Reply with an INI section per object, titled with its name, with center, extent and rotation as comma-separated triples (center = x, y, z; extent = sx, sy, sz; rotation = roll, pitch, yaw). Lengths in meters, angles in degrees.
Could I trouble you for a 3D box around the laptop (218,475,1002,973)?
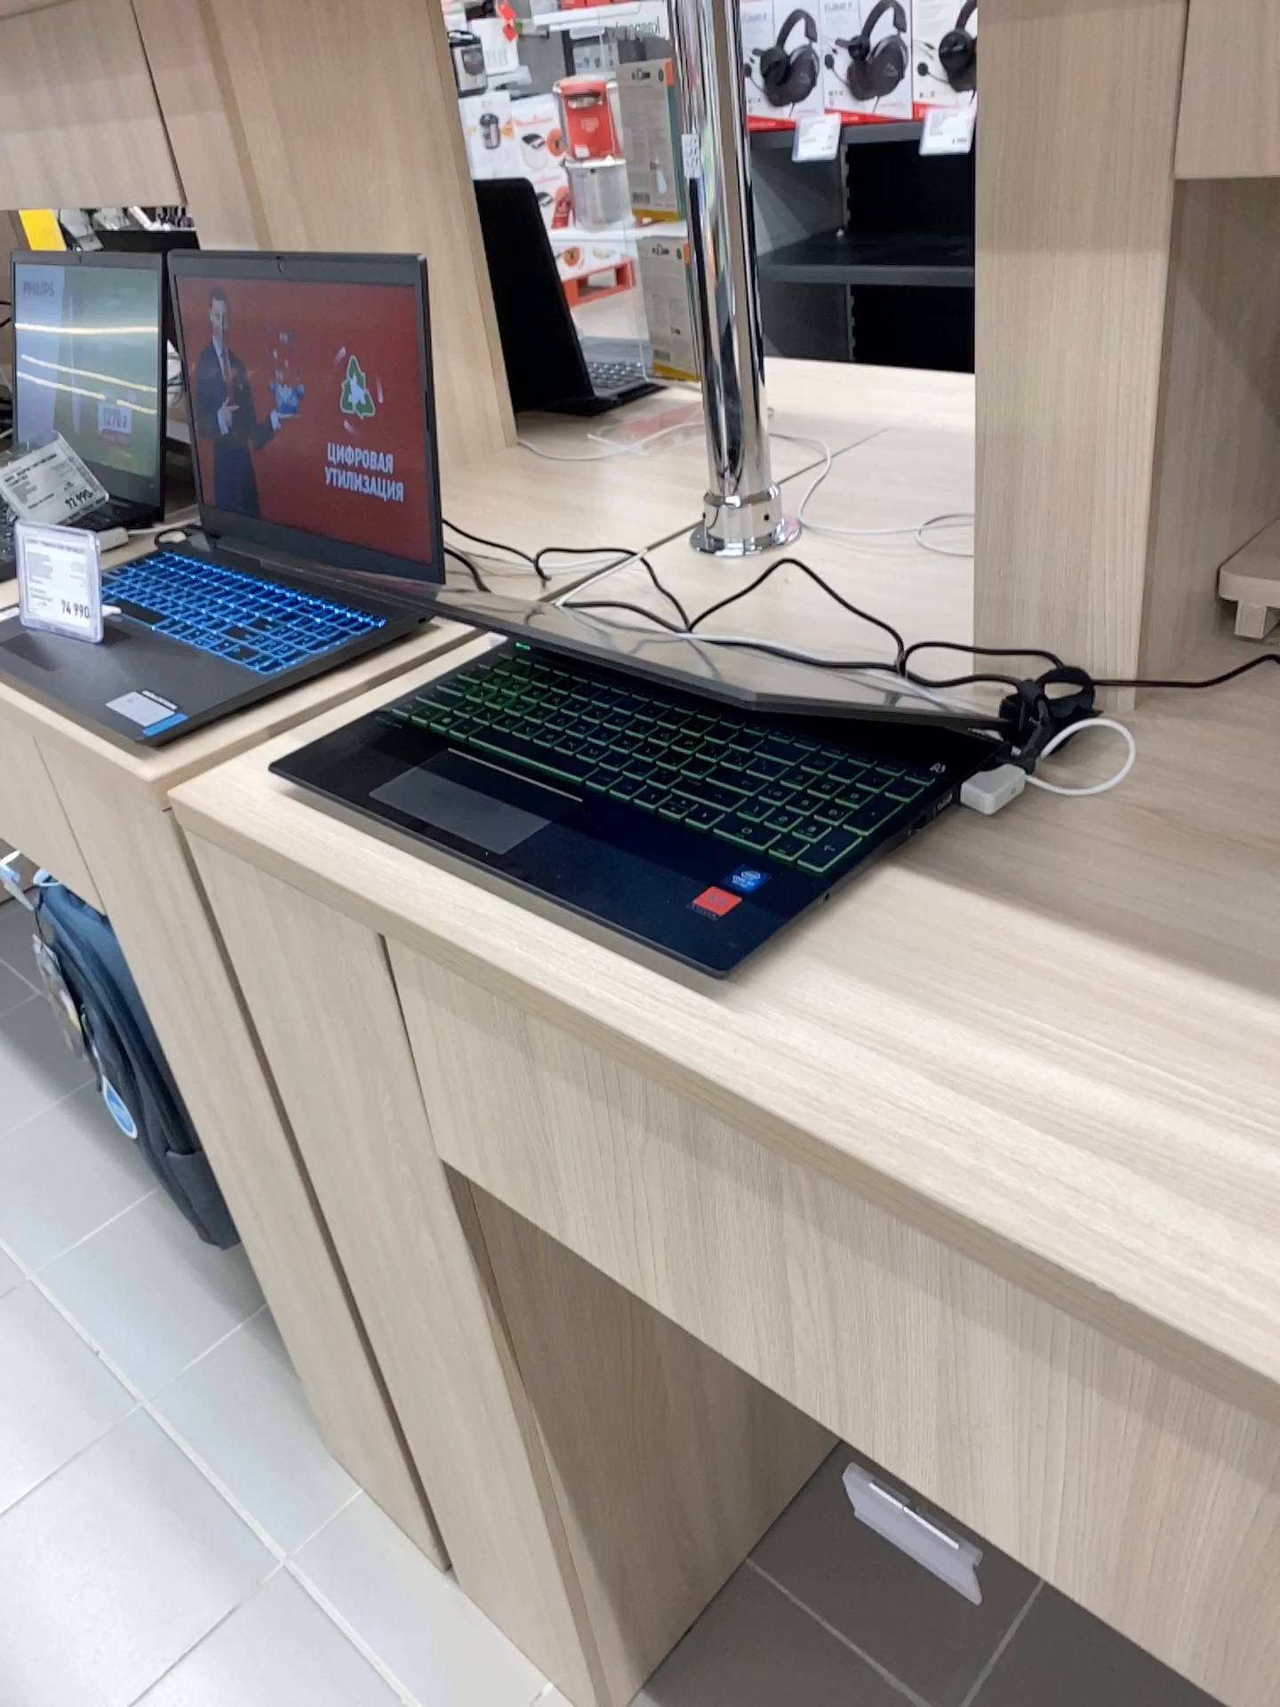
[laptop]
center = -0.025, -0.101, 0.721
extent = 0.366, 0.108, 0.235
rotation = 21, 43, 39
